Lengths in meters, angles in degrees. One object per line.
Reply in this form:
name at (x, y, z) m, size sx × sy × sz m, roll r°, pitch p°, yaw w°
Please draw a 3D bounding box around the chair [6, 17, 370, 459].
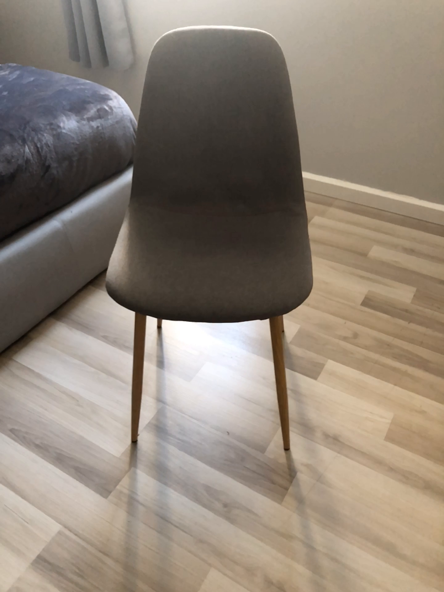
chair at (-0.028, -0.122, 1.095) m, size 0.470 × 0.785 × 0.574 m, roll 2°, pitch 39°, yaw 3°
